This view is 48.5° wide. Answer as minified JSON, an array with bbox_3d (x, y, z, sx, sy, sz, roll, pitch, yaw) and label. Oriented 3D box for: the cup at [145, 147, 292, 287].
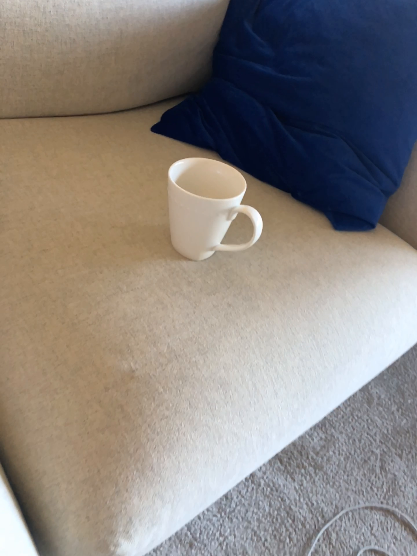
[{"bbox_3d":[0.008,-0.079,0.569,0.100,0.090,0.130,-27,59,-39],"label":"cup"}]
